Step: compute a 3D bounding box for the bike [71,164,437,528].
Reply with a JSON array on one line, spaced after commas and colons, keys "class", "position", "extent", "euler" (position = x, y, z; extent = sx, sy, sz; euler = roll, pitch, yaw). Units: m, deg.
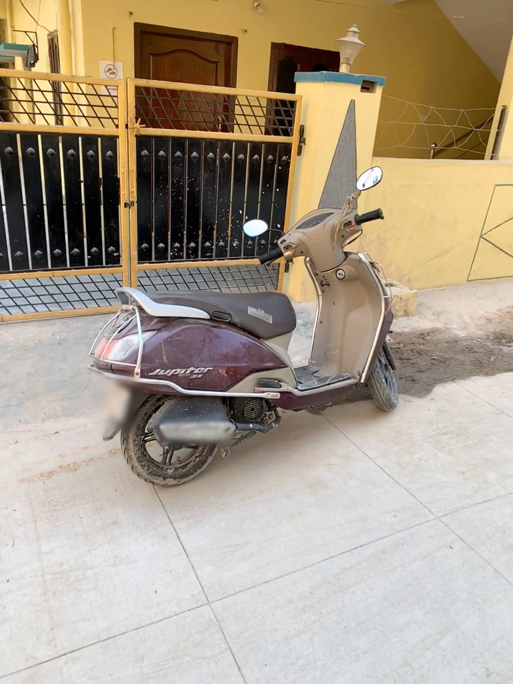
[{"class": "bike", "position": [0.017, -0.121, 2.485], "extent": [1.527, 1.159, 0.615], "euler": [-18, 31, -34]}]
